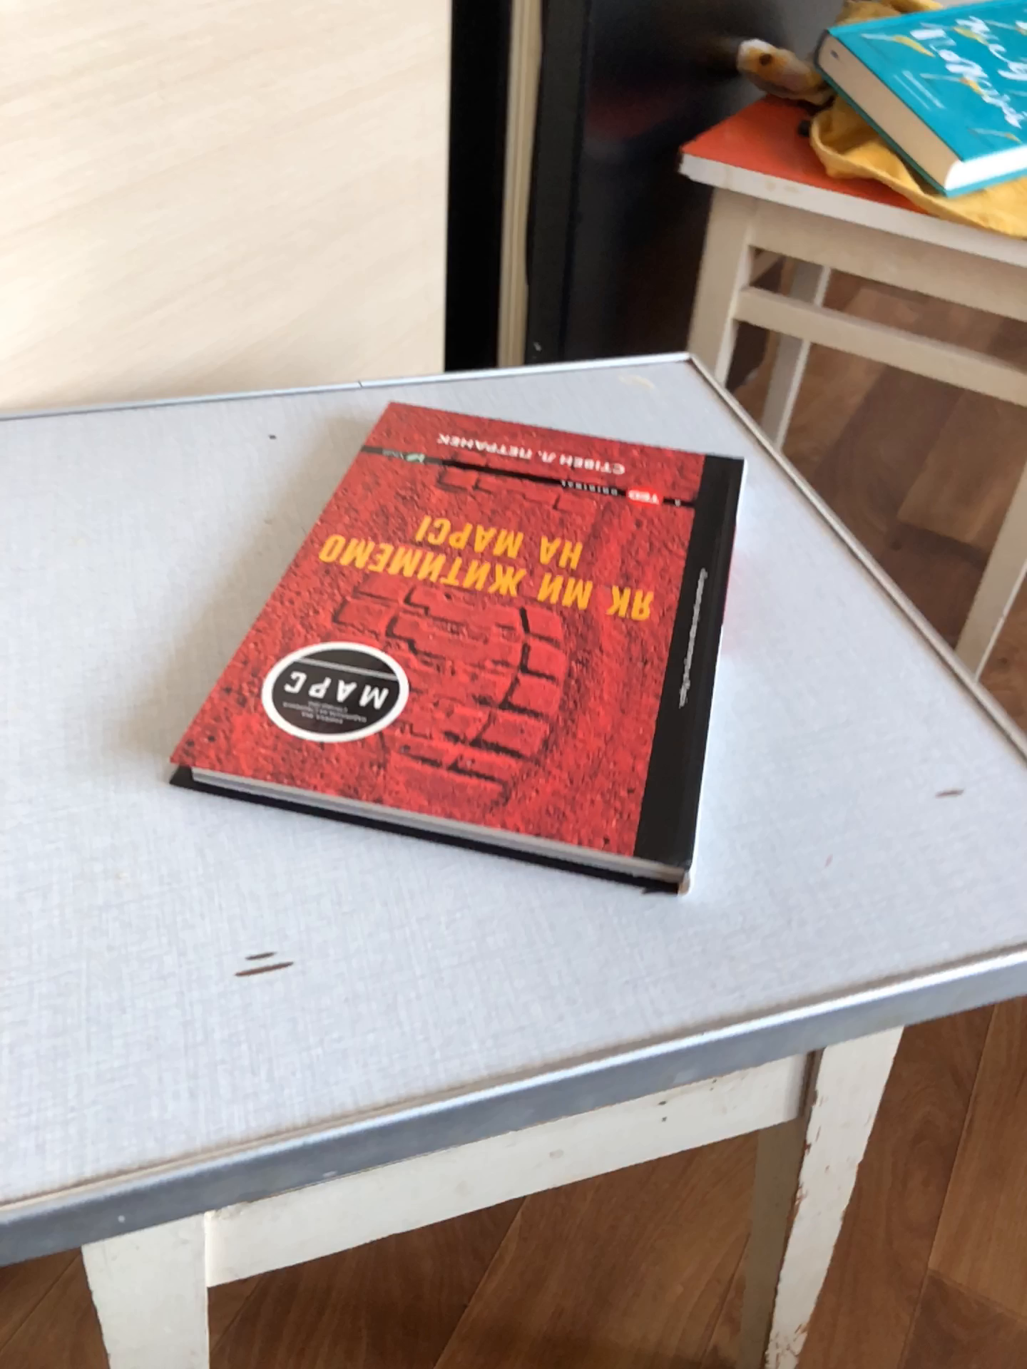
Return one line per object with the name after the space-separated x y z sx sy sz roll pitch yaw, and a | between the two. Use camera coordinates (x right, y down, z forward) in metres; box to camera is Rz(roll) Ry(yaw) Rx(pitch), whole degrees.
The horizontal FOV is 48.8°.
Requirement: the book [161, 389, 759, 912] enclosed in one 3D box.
-0.001 -0.029 0.382 0.150 0.020 0.210 11 43 7 | book
